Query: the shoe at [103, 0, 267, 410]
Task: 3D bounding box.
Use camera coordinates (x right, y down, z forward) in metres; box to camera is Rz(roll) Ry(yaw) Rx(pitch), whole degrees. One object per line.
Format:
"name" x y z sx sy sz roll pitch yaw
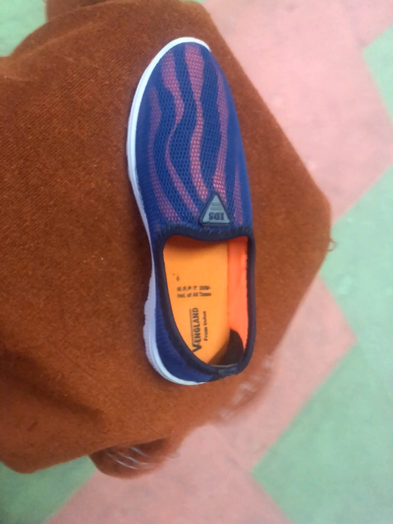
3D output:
"shoe" -0.009 -0.042 0.314 0.091 0.070 0.260 -3 94 -28
